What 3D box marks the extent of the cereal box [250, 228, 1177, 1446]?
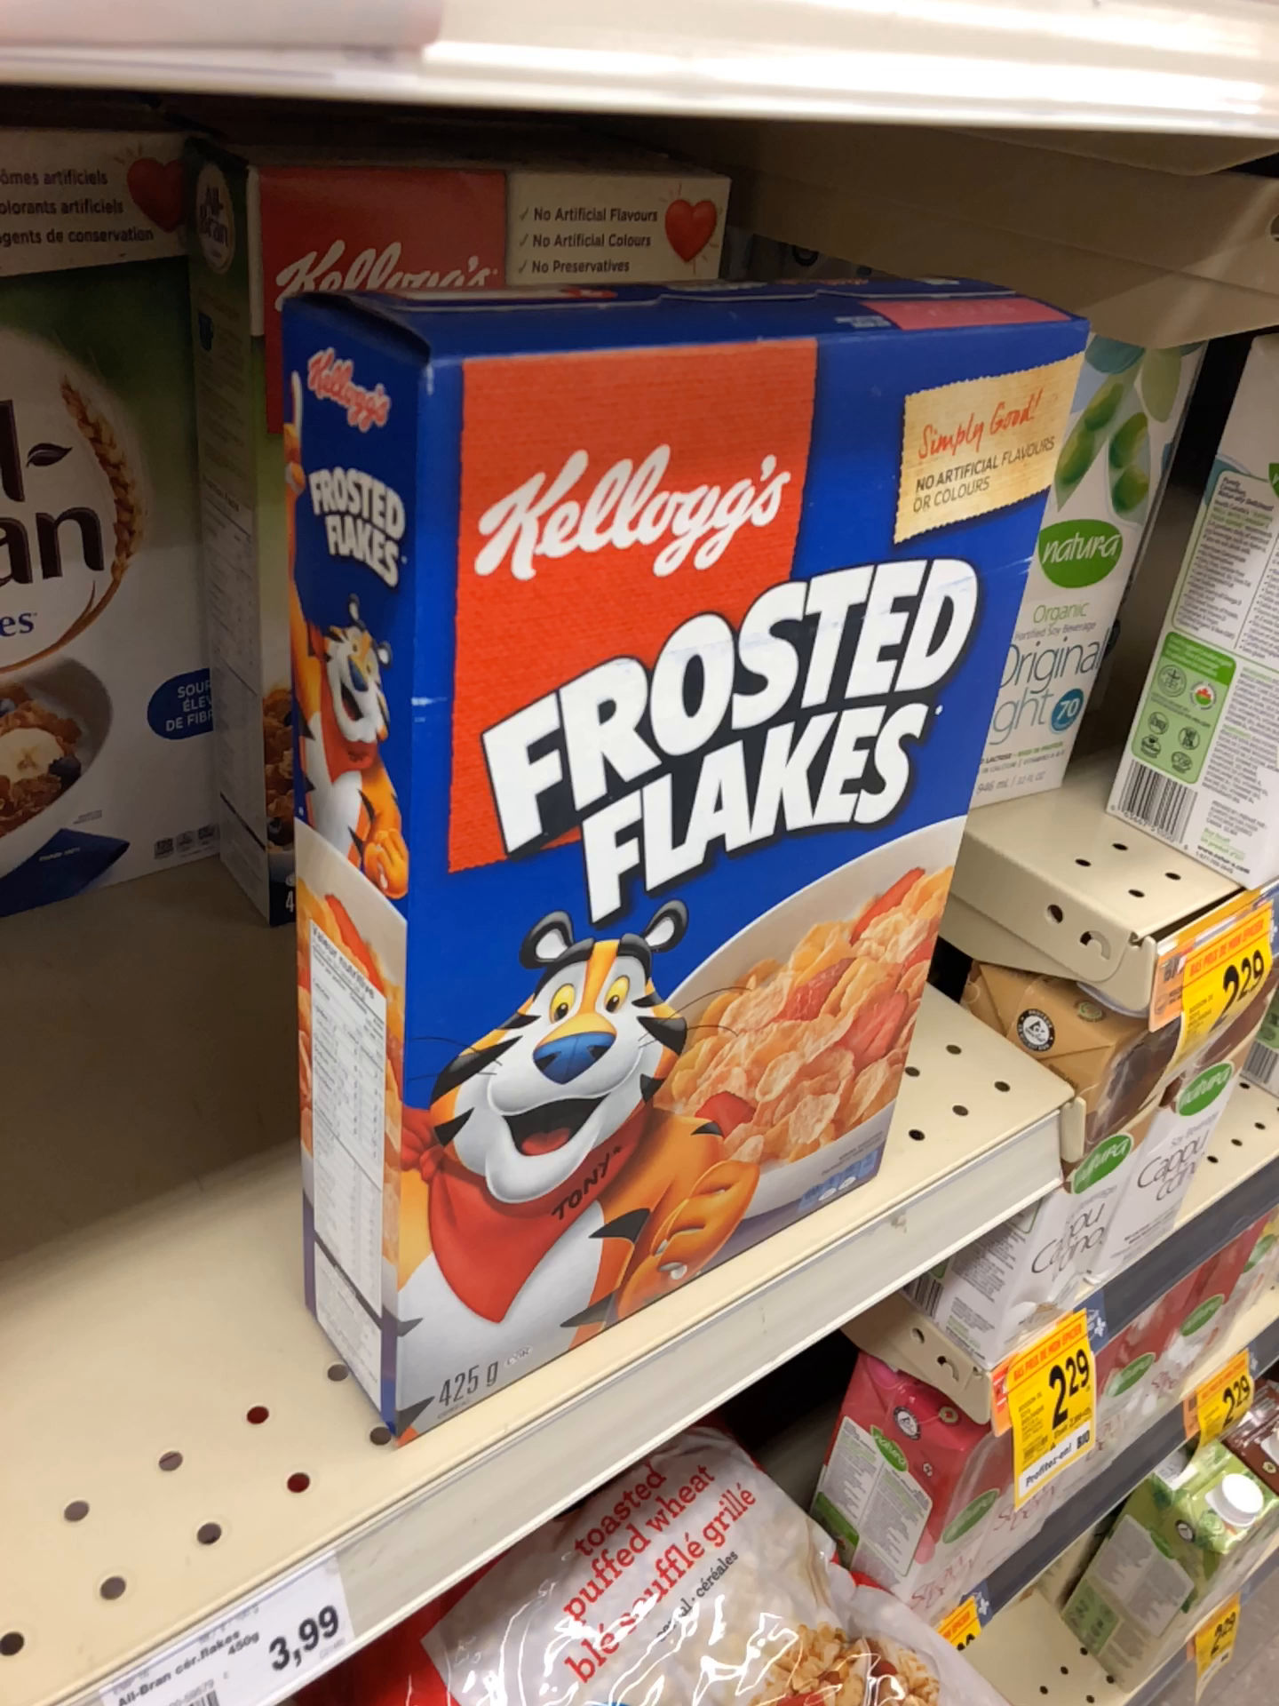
[{"bbox_3d":[0.017,-0.008,0.371,0.211,0.278,0.060,-18,37,-34],"label":"cereal box"}]
